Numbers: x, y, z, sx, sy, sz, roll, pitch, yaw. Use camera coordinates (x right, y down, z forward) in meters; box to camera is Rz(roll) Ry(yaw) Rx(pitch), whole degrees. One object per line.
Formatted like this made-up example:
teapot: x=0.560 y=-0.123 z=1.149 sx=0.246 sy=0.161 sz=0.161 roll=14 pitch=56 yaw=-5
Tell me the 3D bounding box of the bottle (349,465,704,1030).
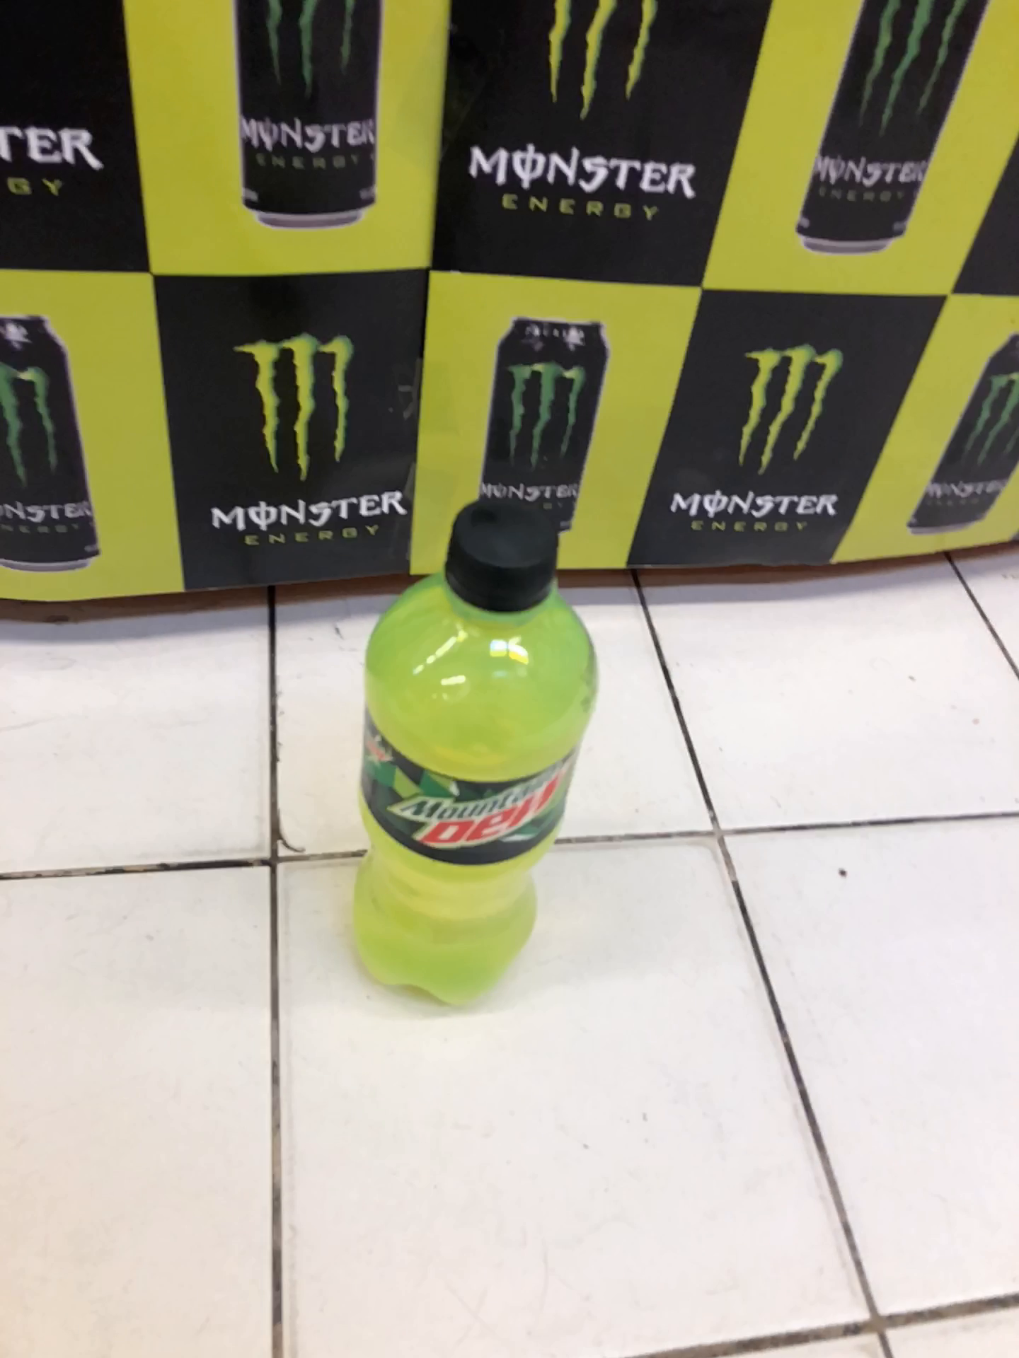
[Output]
bottle: x=-0.008 y=0.033 z=0.365 sx=0.080 sy=0.199 sz=0.070 roll=-2 pitch=48 yaw=-11
